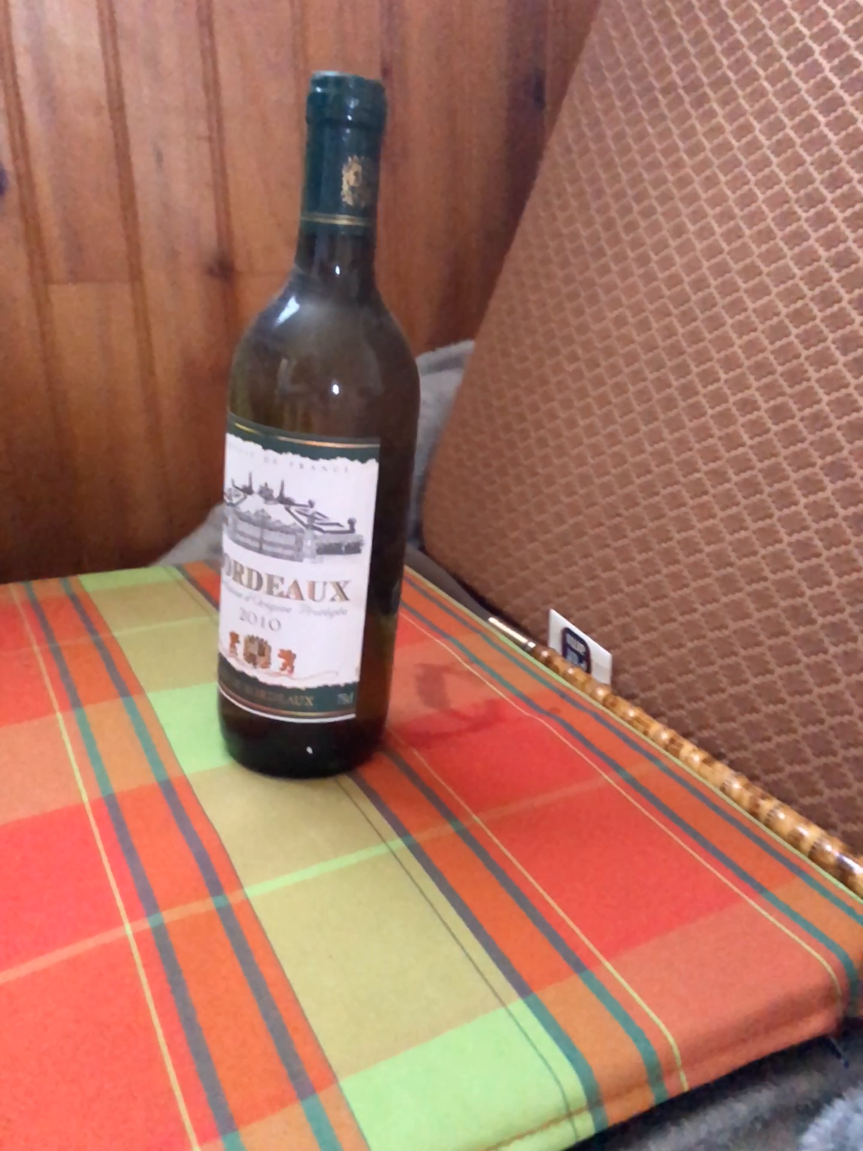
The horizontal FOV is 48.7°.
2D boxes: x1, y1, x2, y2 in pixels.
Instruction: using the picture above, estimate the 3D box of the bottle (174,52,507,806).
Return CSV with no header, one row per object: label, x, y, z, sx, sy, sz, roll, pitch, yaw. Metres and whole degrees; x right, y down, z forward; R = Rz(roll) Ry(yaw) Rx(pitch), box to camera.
bottle,-0.043,-0.054,0.389,0.080,0.269,0.080,6,19,-2
